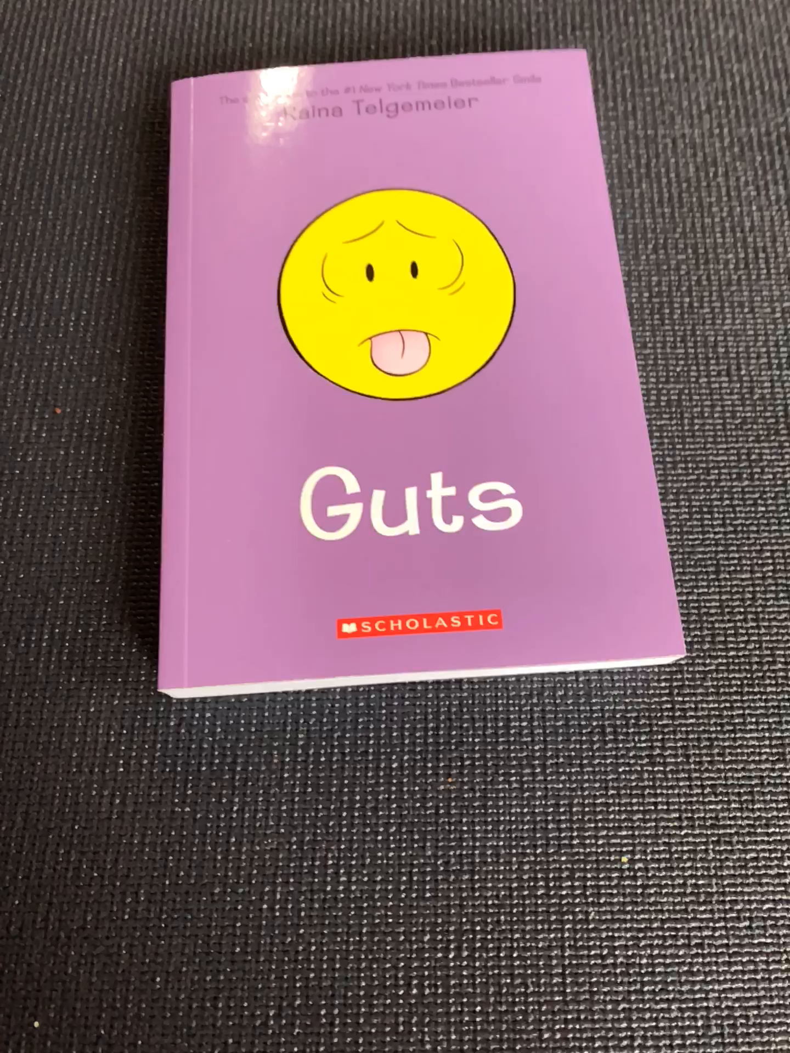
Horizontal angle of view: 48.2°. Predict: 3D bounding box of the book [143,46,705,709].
[{"bbox_3d":[0.001,-0.053,0.268,0.143,0.024,0.202,-4,71,0],"label":"book"}]
